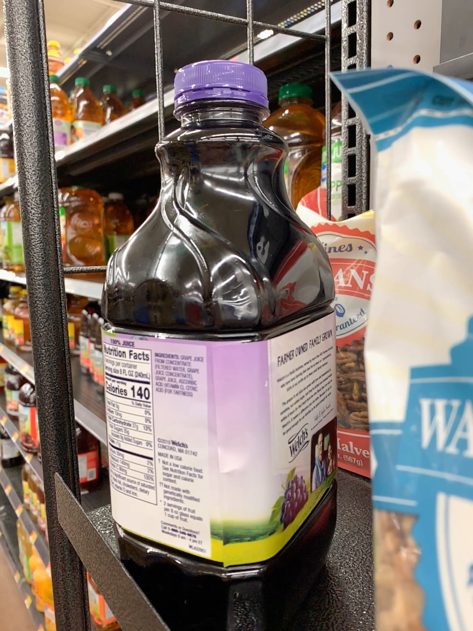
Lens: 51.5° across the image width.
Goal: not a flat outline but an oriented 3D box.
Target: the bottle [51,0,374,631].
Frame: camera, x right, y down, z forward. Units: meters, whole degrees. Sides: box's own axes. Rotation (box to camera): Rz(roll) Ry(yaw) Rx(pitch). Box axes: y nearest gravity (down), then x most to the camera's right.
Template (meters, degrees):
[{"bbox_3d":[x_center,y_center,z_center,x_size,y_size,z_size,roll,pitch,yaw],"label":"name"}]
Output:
[{"bbox_3d":[-0.002,0.013,0.245,0.100,0.260,0.120,4,9,31],"label":"bottle"}]
